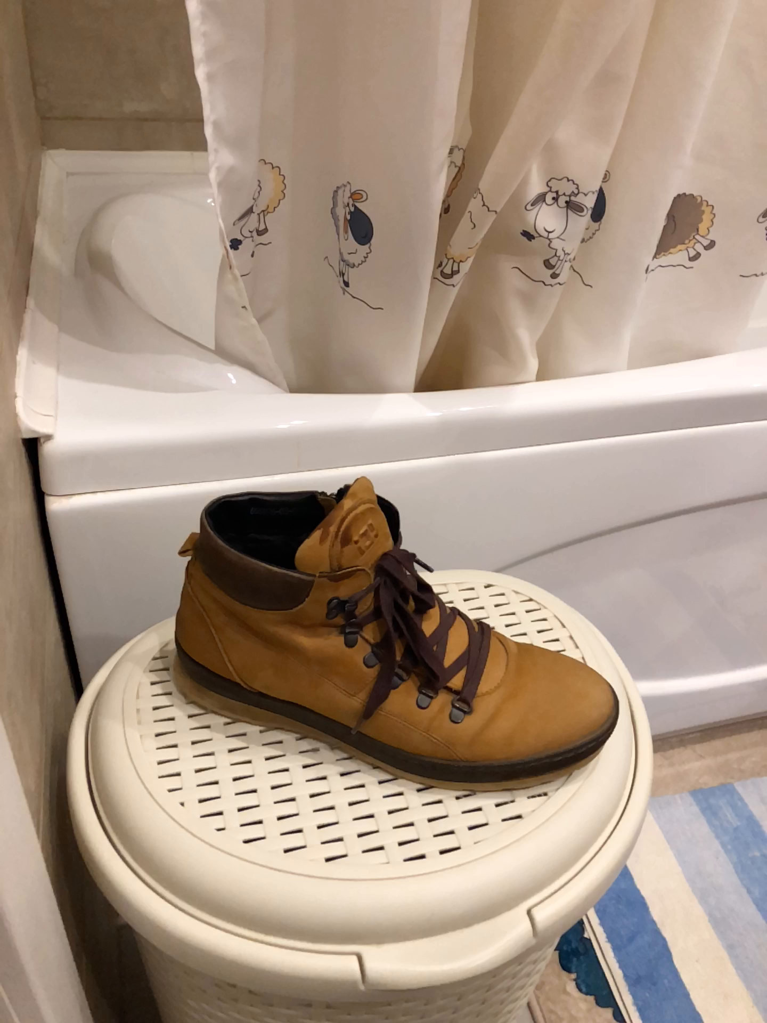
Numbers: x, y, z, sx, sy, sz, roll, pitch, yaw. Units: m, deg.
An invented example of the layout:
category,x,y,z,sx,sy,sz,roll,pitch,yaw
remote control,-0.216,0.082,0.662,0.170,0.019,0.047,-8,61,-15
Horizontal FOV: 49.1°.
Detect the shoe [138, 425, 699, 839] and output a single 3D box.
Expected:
category,x,y,z,sx,sy,sz,roll,pitch,yaw
shoe,0.018,0.071,0.519,0.290,0.169,0.111,11,38,8
